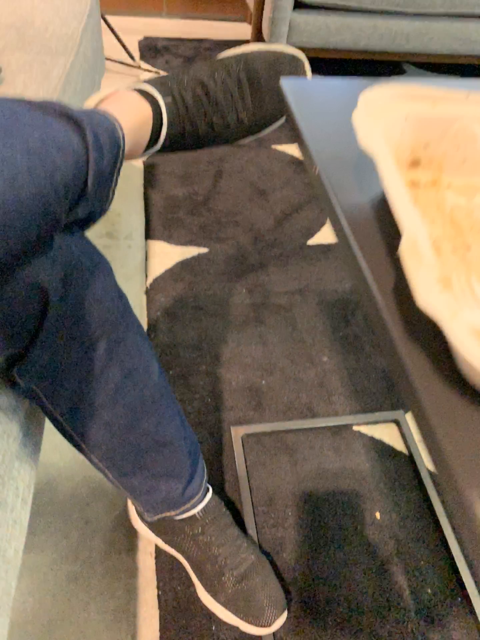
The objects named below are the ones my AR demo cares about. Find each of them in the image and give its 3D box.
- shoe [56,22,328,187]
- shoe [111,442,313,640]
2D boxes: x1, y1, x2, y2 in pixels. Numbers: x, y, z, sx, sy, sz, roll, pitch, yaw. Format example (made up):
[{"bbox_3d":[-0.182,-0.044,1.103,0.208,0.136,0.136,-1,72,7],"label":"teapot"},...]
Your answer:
[{"bbox_3d":[-0.050,-0.261,0.588,0.276,0.112,0.133,-10,34,2],"label":"shoe"},{"bbox_3d":[-0.050,0.338,0.717,0.116,0.074,0.304,-32,59,-29],"label":"shoe"}]
